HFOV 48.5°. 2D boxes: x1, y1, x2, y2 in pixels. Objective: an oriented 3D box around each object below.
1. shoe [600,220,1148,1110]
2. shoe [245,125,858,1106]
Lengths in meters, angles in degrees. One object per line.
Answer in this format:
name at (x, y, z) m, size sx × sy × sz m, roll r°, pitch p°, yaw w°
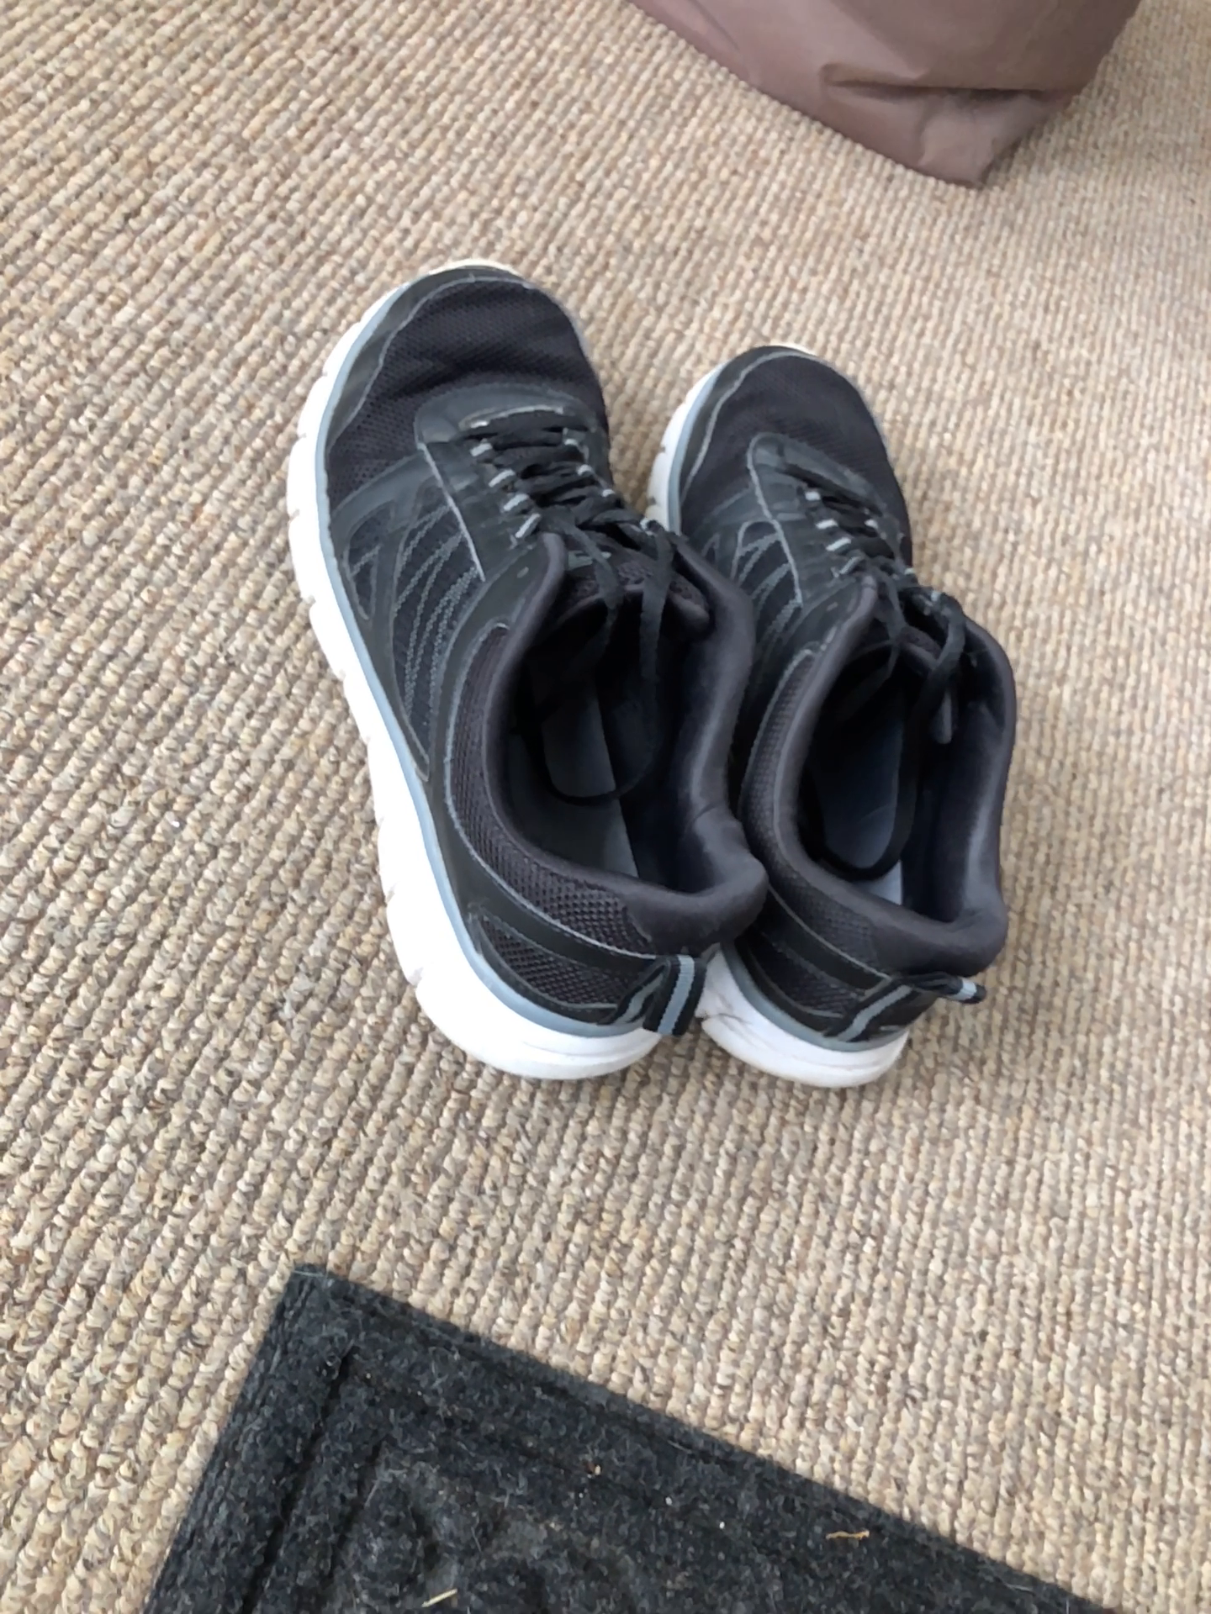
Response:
shoe at (0.077, -0.049, 0.473) m, size 0.120 × 0.110 × 0.276 m, roll 12°, pitch 60°, yaw -22°
shoe at (-0.032, -0.061, 0.421) m, size 0.118 × 0.100 × 0.276 m, roll 1°, pitch 64°, yaw -27°
